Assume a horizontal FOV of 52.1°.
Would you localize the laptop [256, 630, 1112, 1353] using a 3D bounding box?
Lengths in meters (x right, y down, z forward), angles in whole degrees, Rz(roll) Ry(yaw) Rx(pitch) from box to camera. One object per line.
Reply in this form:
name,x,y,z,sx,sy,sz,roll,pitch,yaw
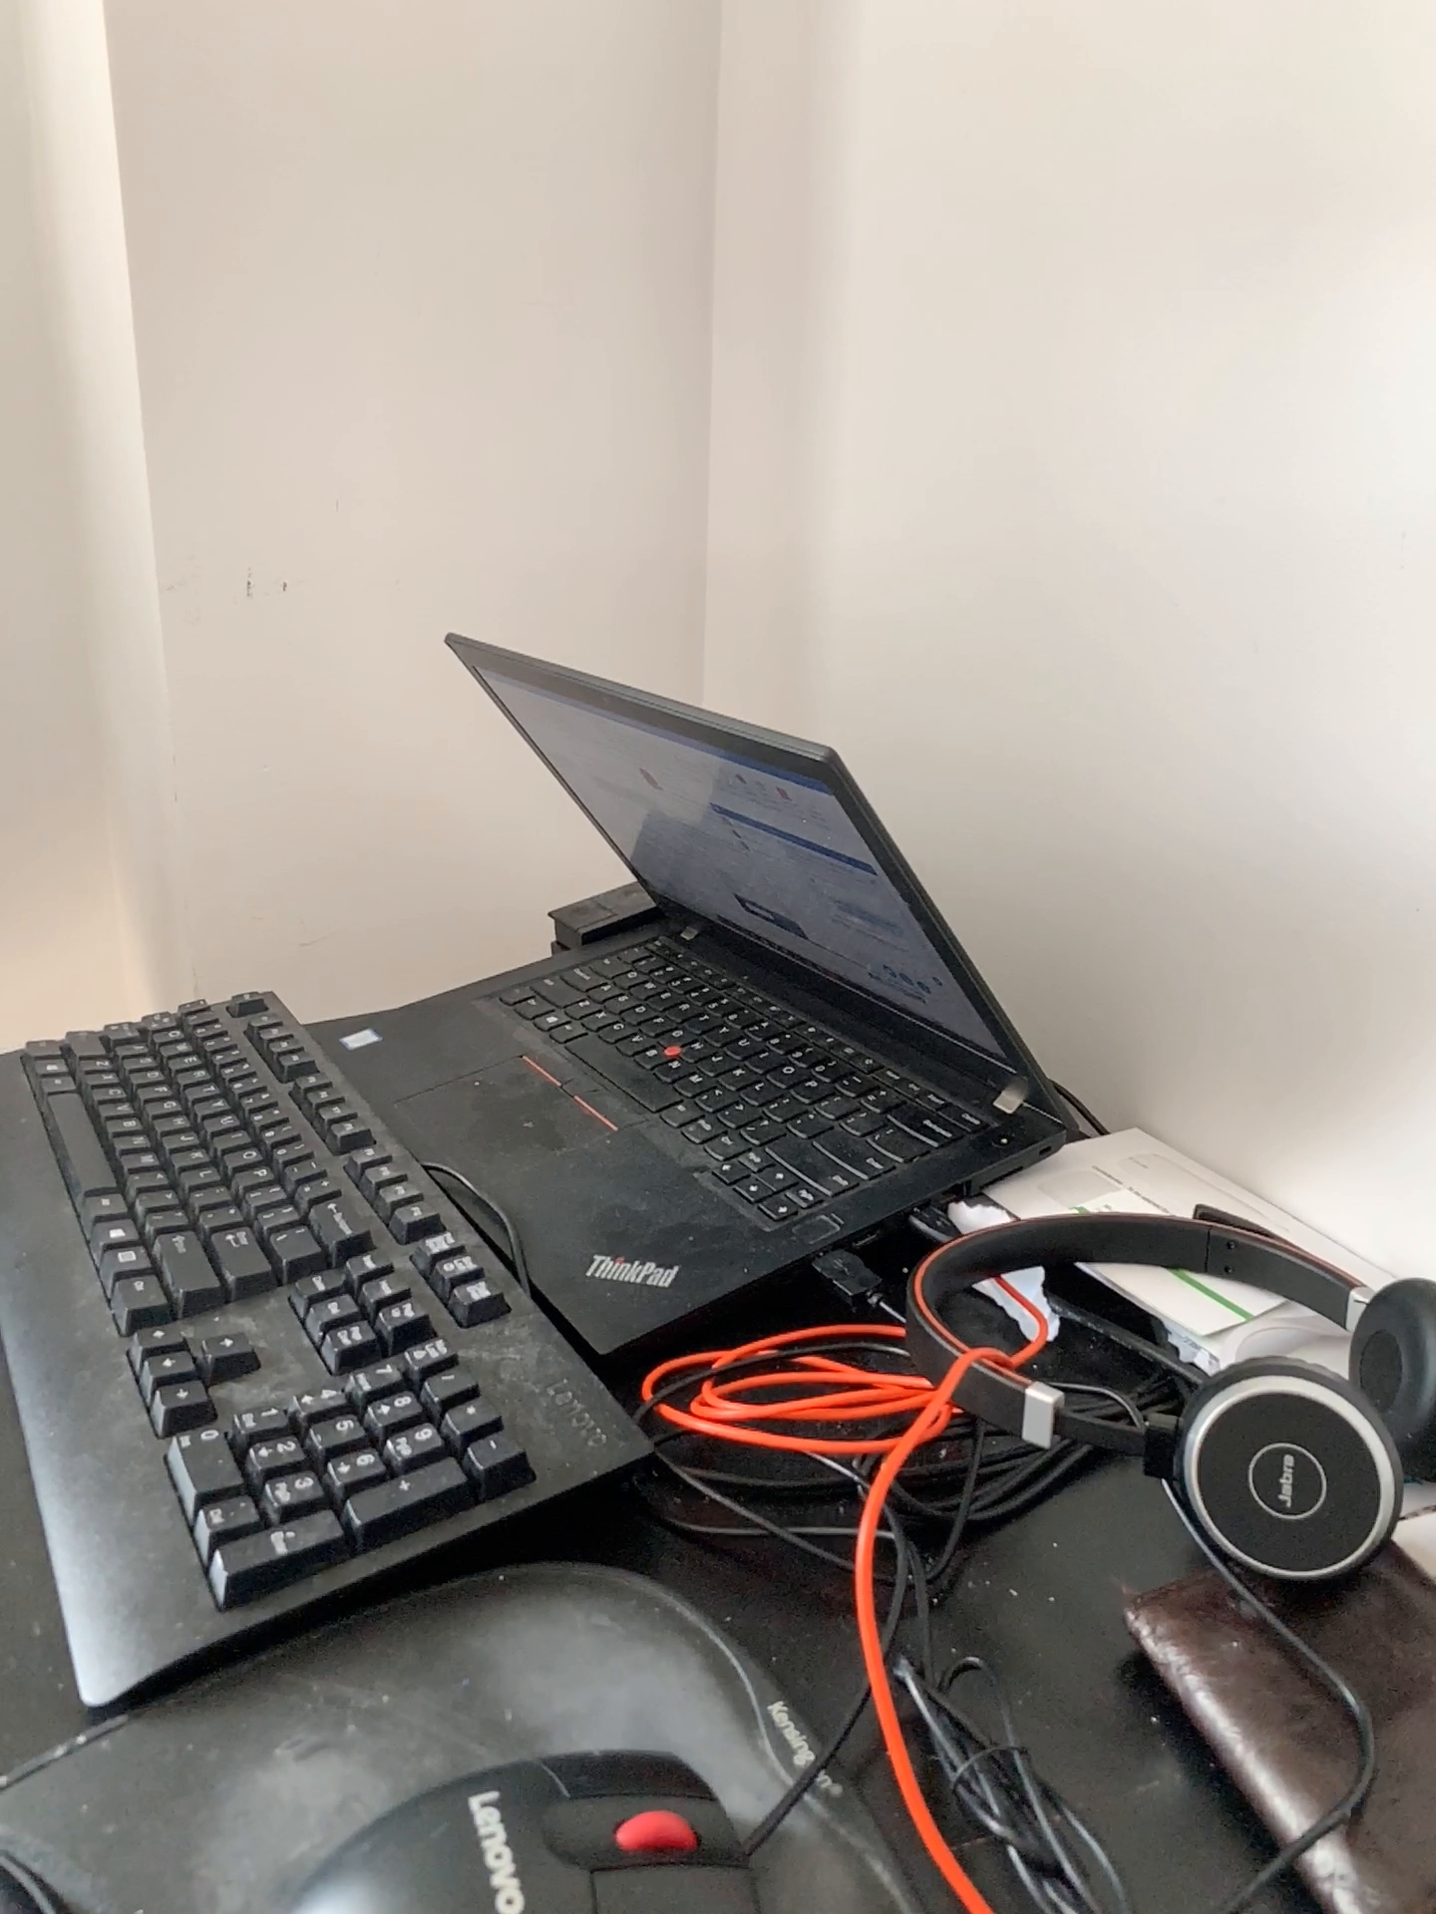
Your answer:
laptop,-0.039,-0.023,0.679,0.237,0.172,0.335,-16,25,-29
